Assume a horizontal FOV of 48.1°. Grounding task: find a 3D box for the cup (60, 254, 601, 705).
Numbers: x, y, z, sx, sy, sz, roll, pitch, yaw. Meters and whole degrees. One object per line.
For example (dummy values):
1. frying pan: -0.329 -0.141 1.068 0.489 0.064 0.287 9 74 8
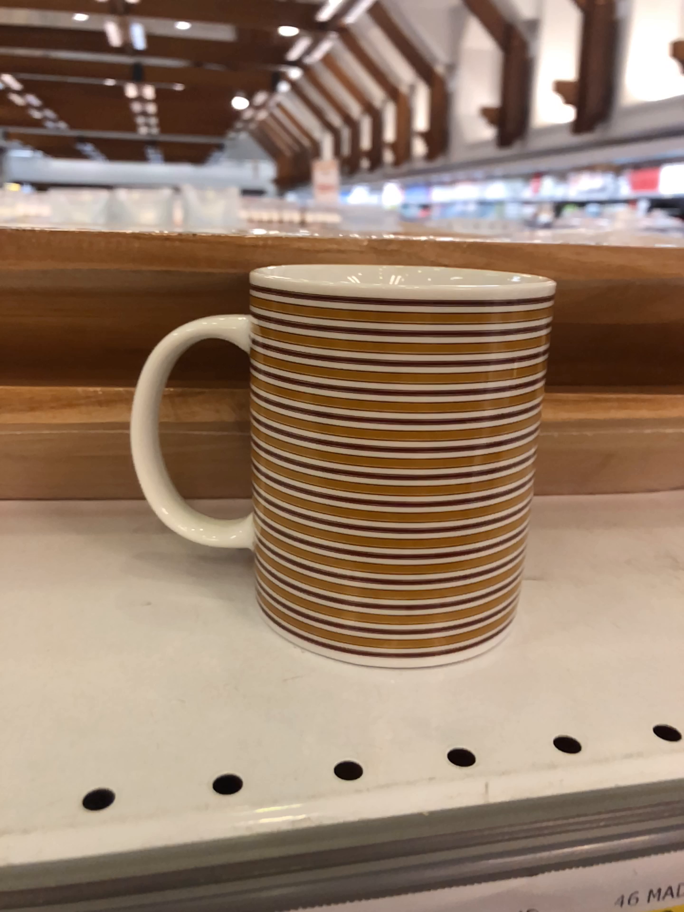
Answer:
1. cup: 0.002 -0.008 0.219 0.120 0.090 0.090 8 18 21
